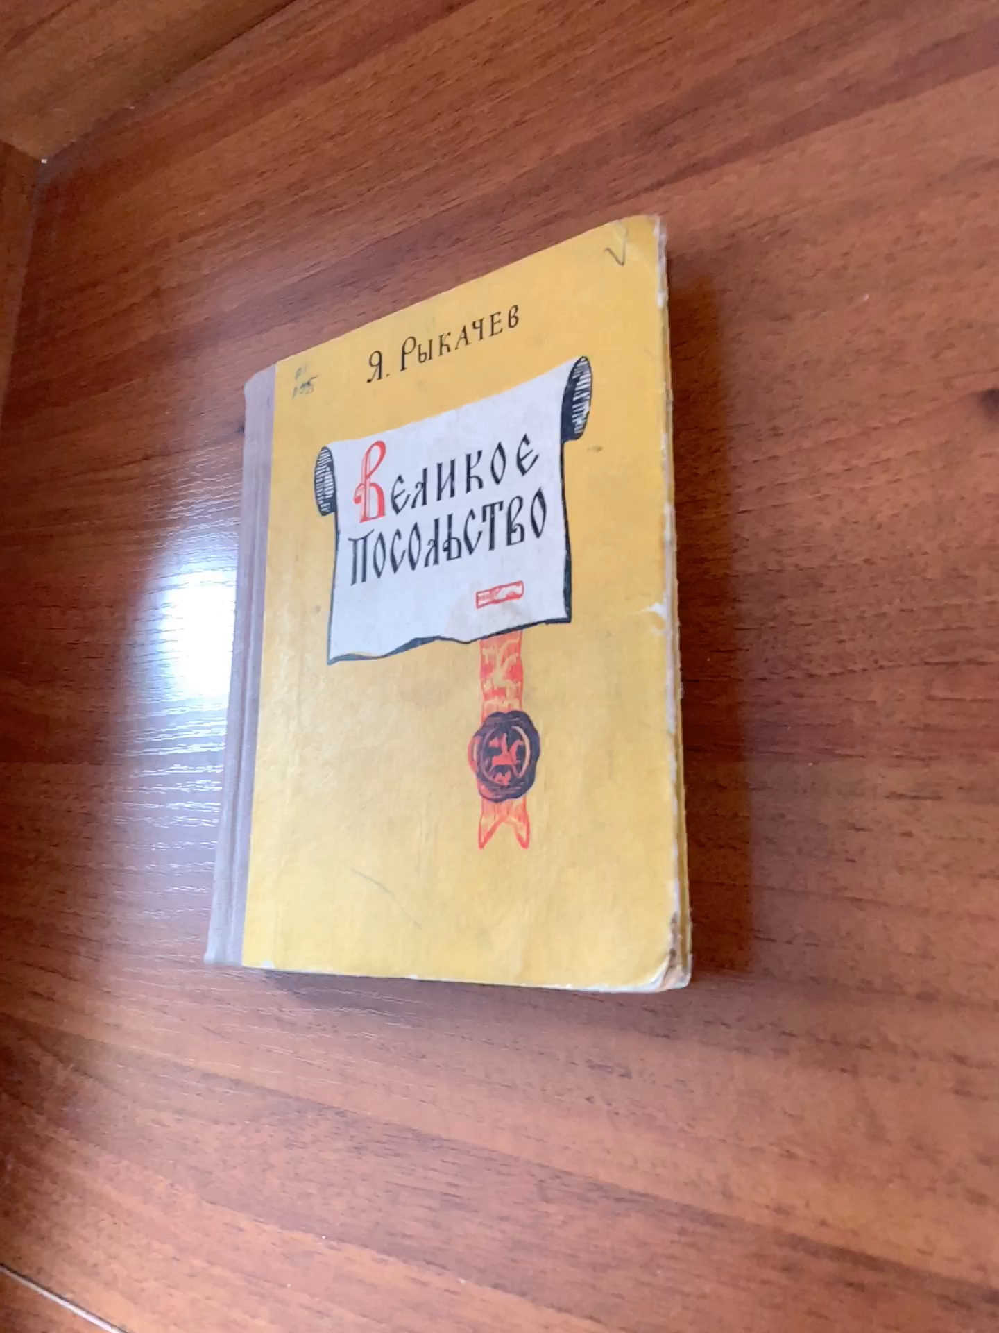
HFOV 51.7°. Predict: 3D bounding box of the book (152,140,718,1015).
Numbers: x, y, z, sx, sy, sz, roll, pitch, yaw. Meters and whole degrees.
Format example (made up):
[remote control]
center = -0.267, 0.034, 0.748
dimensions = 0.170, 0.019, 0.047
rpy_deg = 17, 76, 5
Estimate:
[book]
center = -0.022, -0.015, 0.244
dimensions = 0.142, 0.023, 0.170
rpy_deg = -7, 77, 35
